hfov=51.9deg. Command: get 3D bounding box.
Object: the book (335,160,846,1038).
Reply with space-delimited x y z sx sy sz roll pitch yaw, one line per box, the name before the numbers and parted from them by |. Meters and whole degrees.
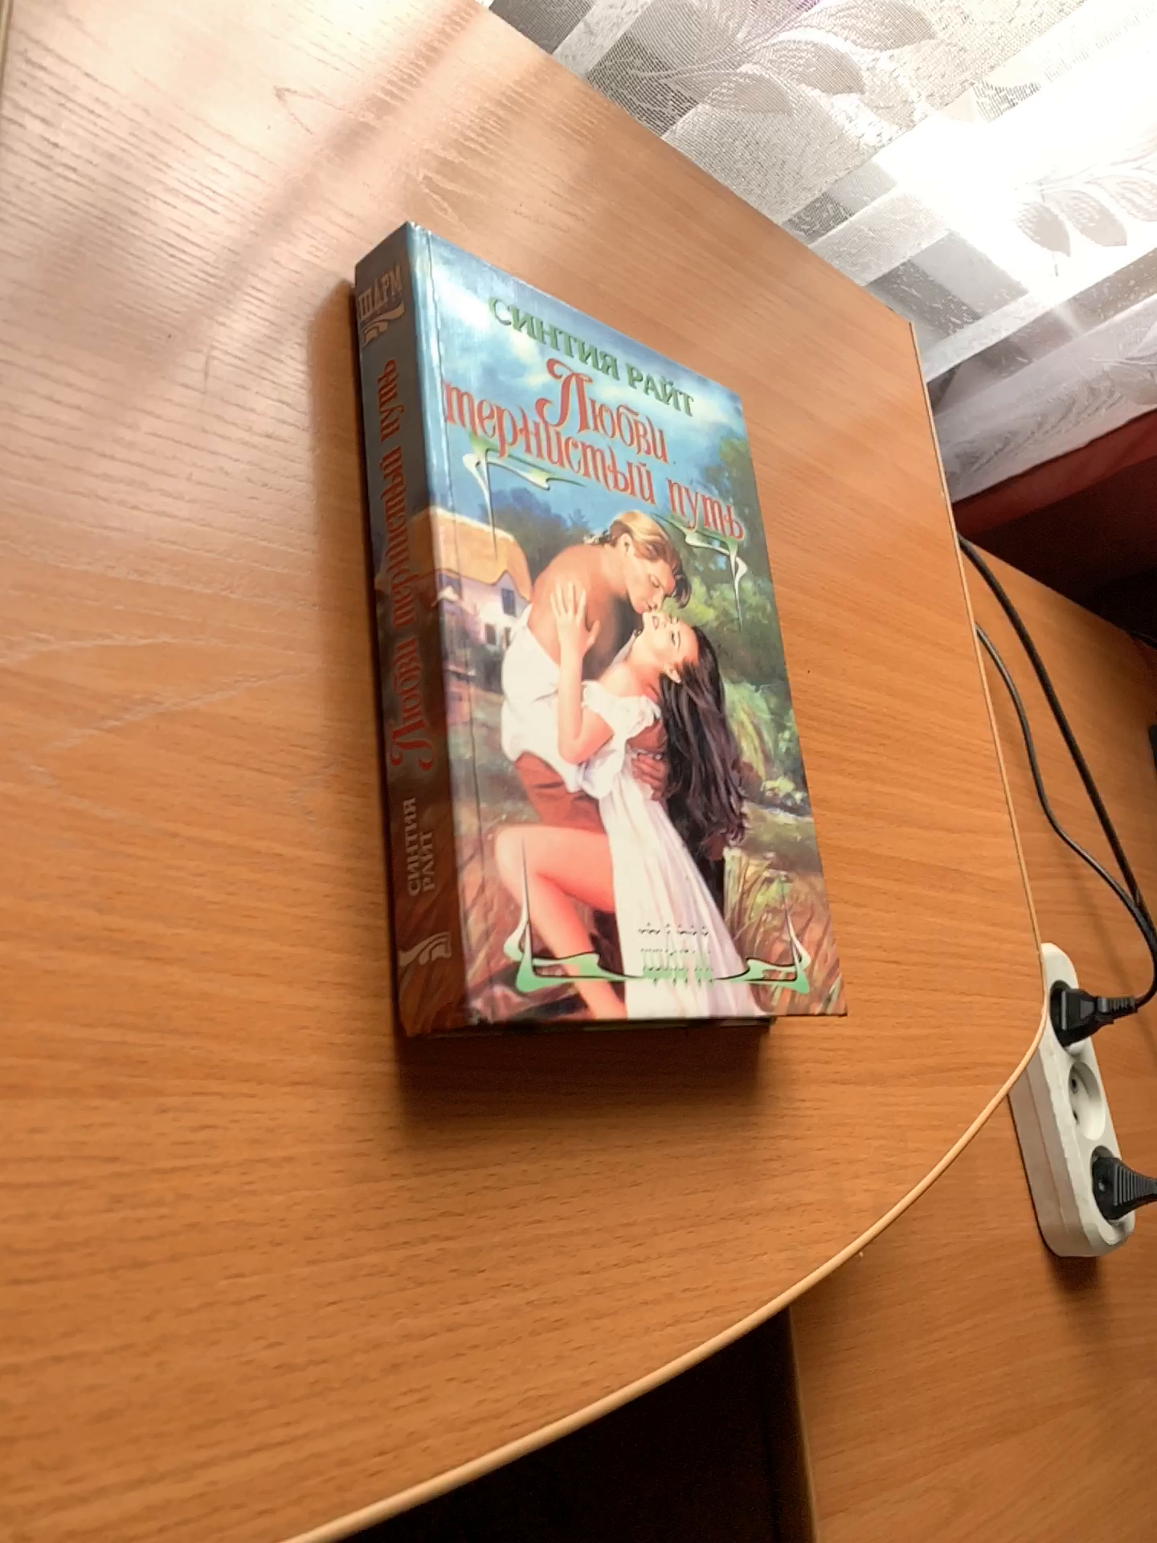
book | 0.005 -0.038 0.323 0.141 0.030 0.210 11 67 -43
